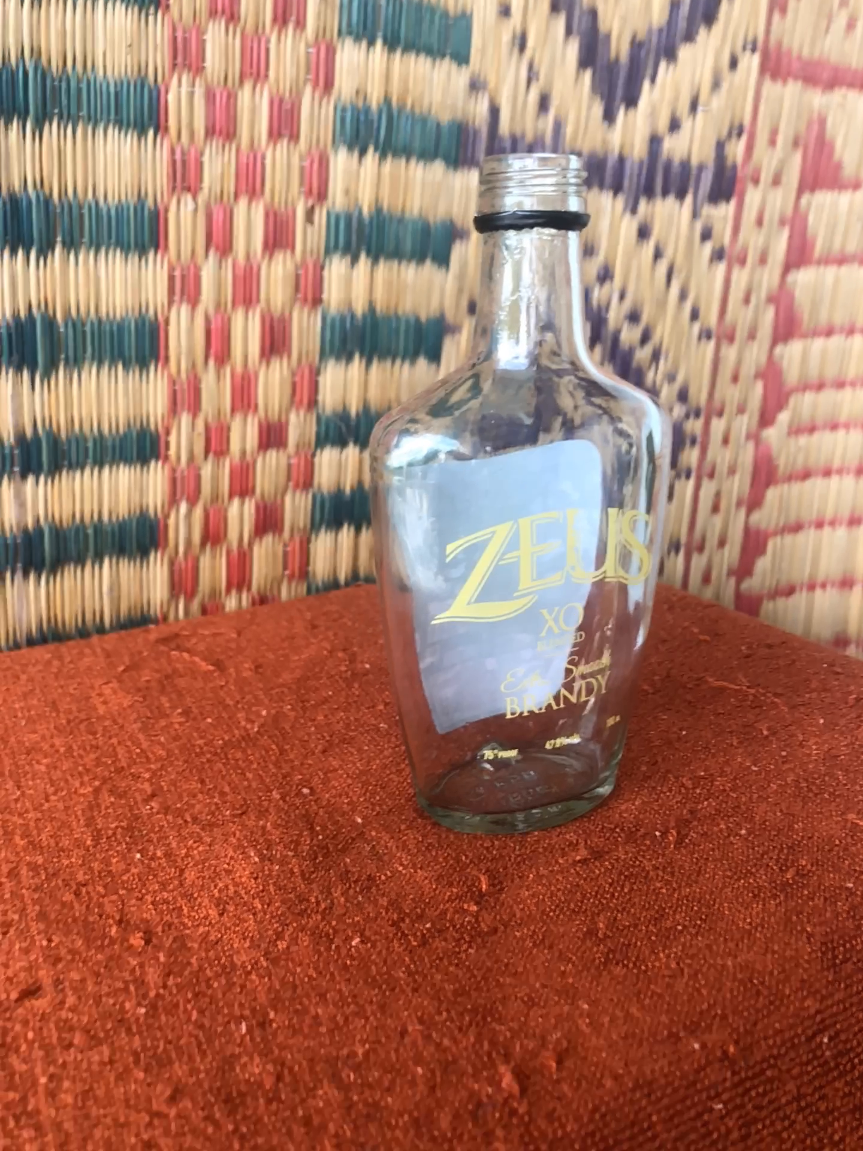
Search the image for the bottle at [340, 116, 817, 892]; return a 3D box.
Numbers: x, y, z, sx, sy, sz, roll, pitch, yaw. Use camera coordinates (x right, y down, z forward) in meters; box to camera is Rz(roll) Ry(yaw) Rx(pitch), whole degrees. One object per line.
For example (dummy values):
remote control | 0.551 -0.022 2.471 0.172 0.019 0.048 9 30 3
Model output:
bottle | 0.027 -0.014 0.214 0.080 0.149 0.040 -6 22 -26
